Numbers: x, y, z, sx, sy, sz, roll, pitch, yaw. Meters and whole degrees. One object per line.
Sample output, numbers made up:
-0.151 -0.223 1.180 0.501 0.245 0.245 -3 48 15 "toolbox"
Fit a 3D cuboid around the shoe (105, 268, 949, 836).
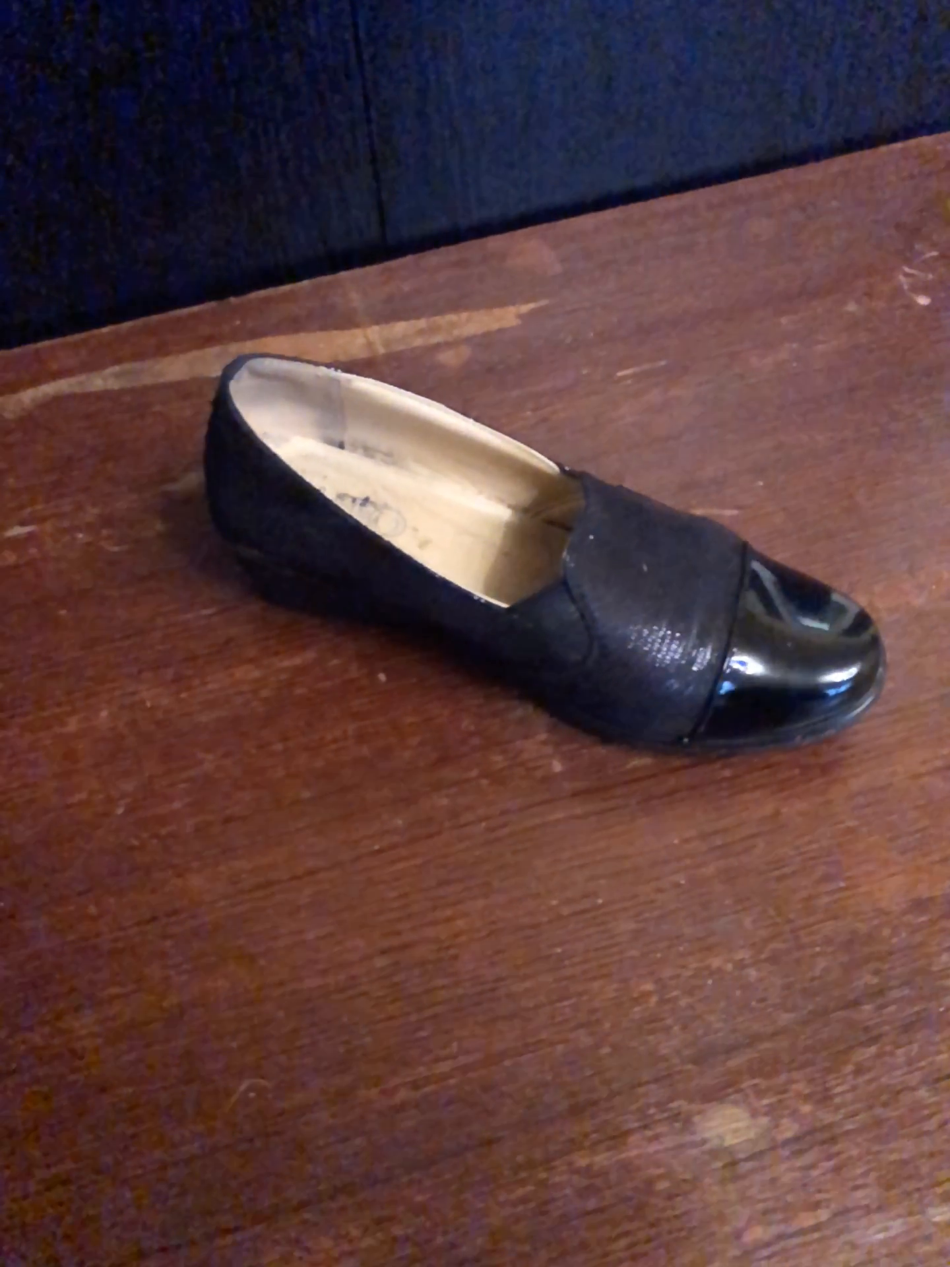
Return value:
0.022 -0.031 0.335 0.235 0.090 0.090 16 57 15 "shoe"
